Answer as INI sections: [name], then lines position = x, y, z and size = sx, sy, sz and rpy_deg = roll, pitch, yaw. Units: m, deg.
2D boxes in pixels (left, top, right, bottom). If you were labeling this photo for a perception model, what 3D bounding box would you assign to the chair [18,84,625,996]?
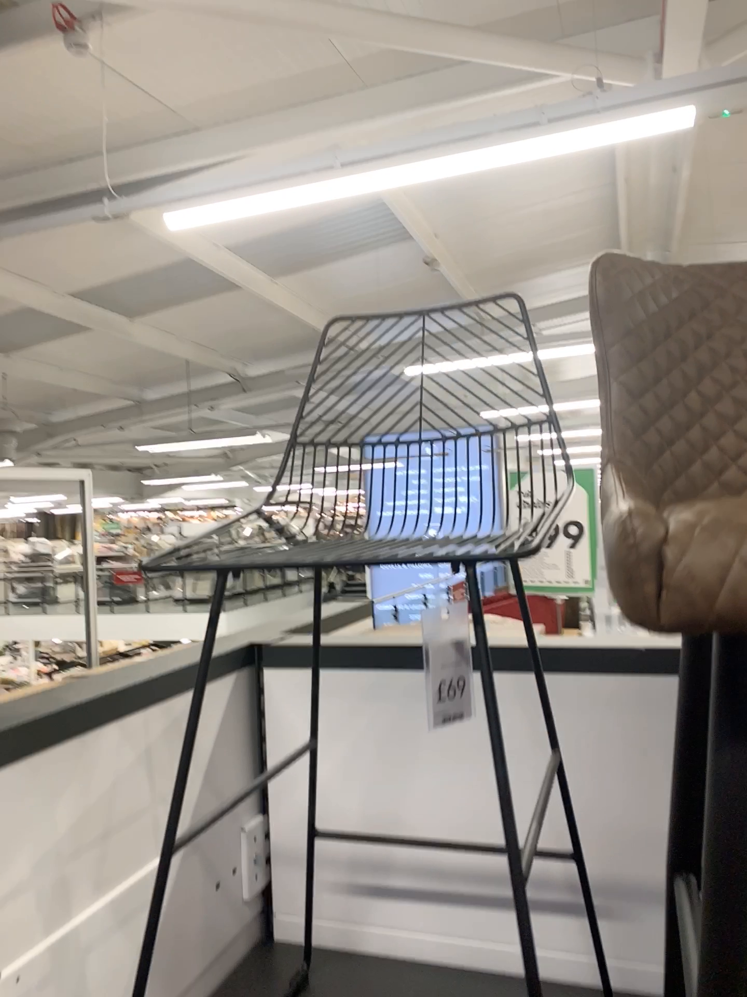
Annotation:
[chair]
position = -0.005, 0.179, 0.892
size = 0.504, 0.965, 0.529
rpy_deg = -4, -3, 18
